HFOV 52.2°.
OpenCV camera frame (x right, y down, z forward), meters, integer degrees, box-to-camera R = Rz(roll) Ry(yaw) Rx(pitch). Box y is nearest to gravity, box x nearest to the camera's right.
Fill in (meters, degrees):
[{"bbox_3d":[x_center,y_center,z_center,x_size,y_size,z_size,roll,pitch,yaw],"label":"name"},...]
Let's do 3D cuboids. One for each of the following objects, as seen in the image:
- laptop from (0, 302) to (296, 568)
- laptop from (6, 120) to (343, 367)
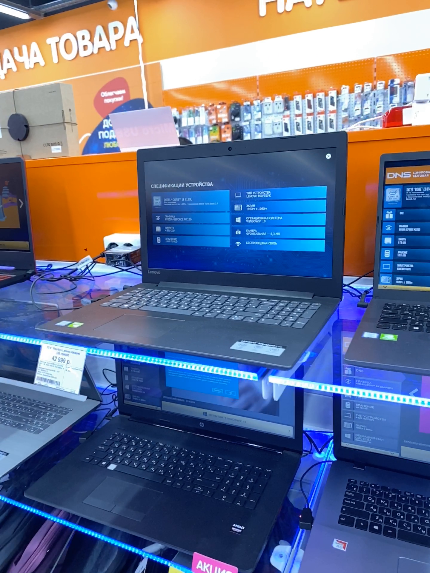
[{"bbox_3d":[-0.091,0.200,0.746,0.401,0.263,0.271,3,14,23],"label":"laptop"},{"bbox_3d":[-0.033,-0.083,0.641,0.378,0.245,0.290,4,16,26],"label":"laptop"}]
